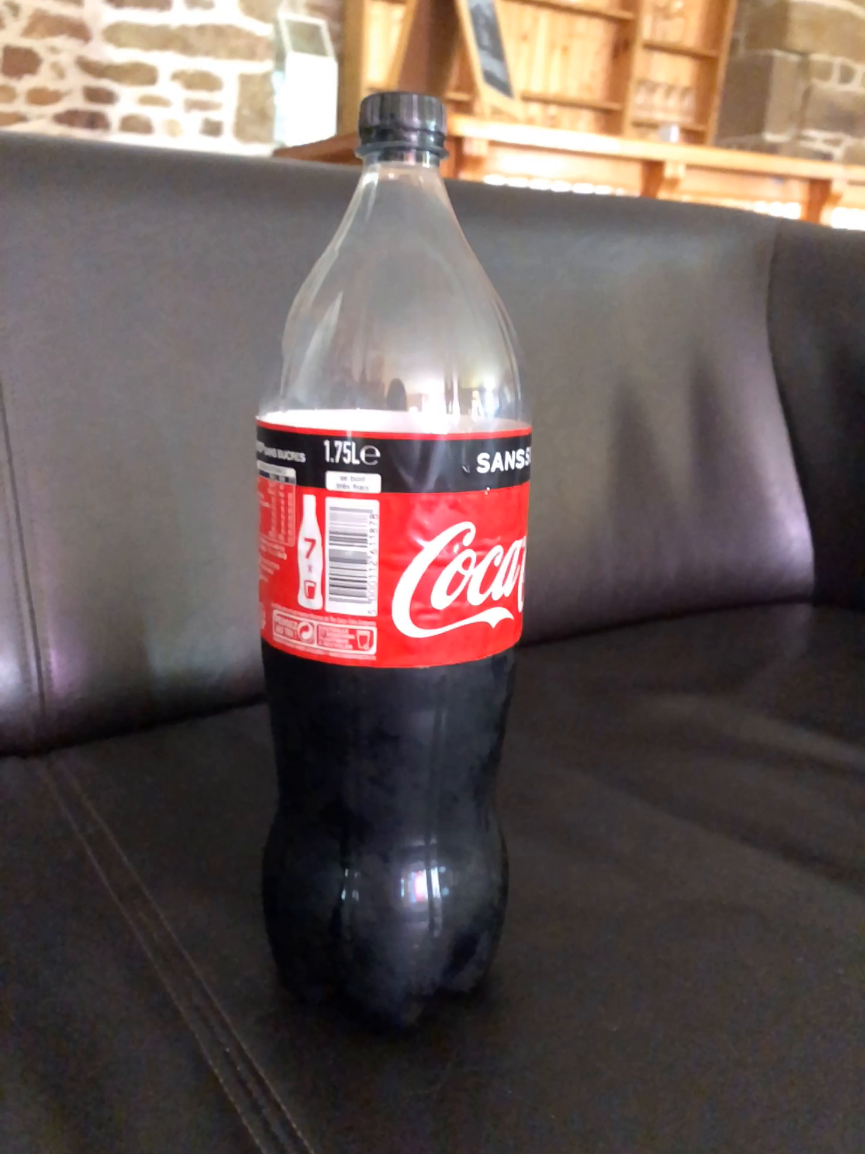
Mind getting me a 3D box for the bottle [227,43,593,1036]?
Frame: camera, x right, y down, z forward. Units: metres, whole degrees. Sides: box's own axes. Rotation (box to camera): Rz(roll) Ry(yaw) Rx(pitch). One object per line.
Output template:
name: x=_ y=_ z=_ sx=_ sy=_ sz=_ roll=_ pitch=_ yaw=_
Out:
bottle: x=-0.008 y=-0.009 z=0.359 sx=0.100 sy=0.319 sz=0.100 roll=3 pitch=14 yaw=-1
